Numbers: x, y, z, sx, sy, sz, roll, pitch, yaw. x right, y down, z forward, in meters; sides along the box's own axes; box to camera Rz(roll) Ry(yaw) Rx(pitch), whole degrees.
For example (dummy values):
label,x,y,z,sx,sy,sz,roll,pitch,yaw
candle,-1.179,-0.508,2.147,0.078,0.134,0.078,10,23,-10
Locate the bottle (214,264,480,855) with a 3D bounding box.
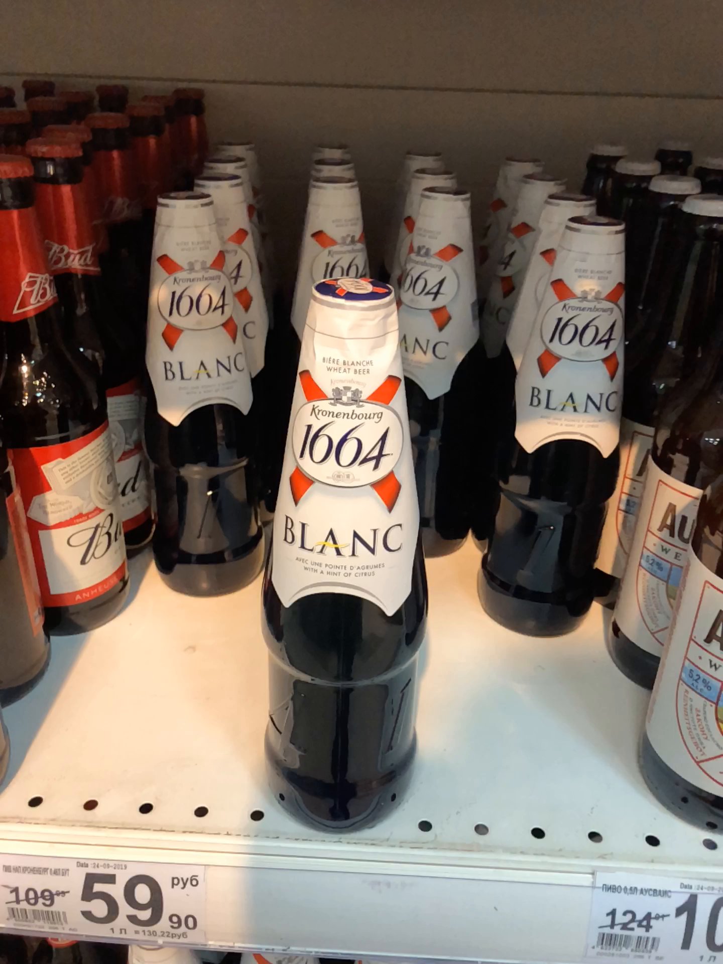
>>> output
label,x,y,z,sx,sy,sz,roll,pitch,yaw
bottle,-0.003,0.040,0.326,0.080,0.234,0.070,5,29,6
